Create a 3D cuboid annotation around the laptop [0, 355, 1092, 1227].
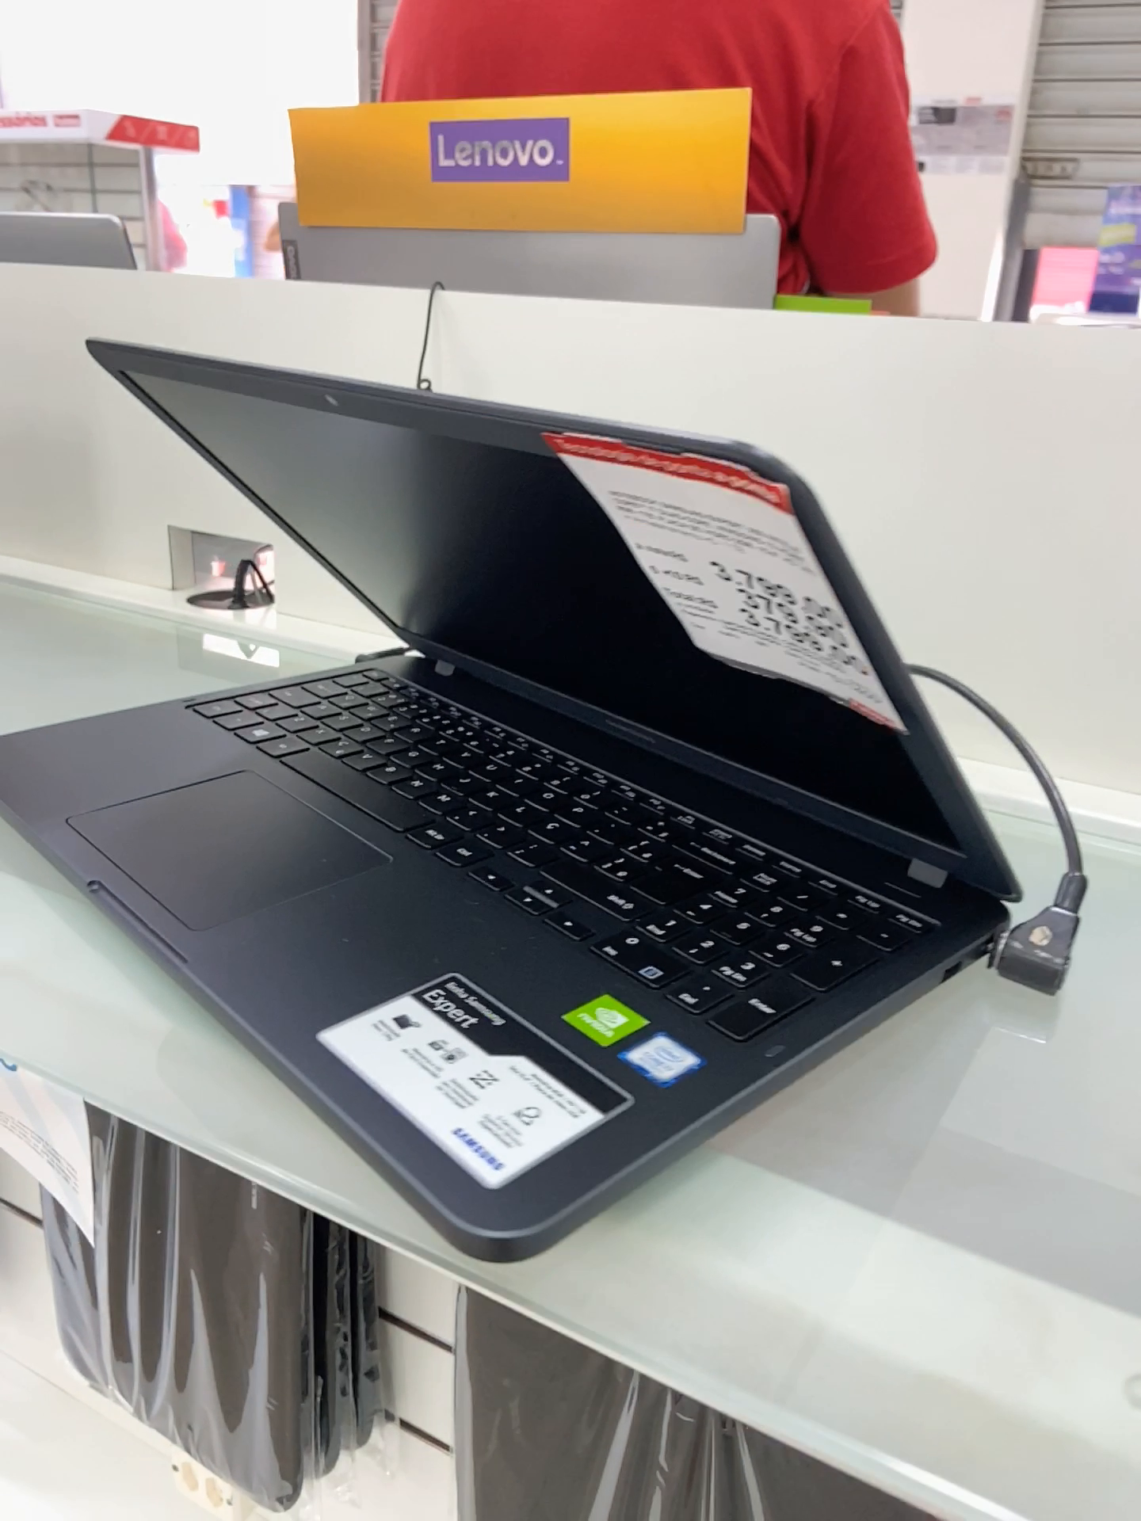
[{"bbox_3d":[-0.054,-0.050,0.428,0.232,0.158,0.358,-18,29,-40],"label":"laptop"}]
